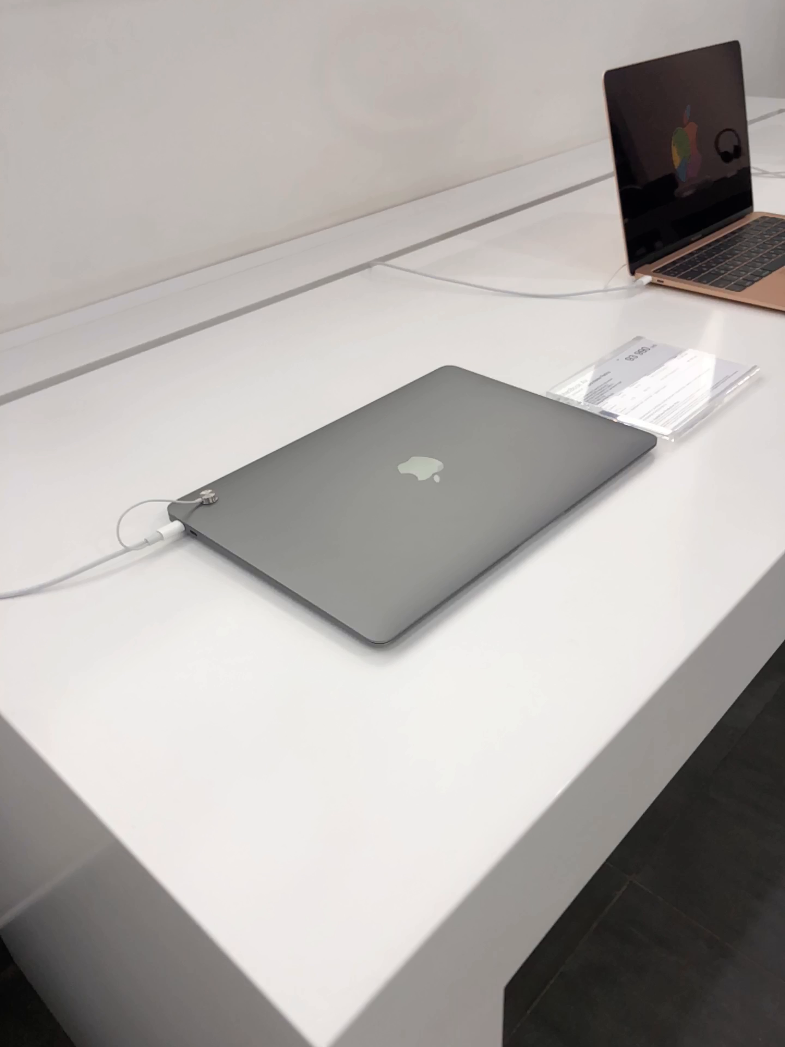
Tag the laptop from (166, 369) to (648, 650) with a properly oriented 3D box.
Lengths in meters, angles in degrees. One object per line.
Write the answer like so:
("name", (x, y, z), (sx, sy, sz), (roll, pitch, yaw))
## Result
("laptop", (0.018, -0.033, 0.629), (0.205, 0.006, 0.293), (28, 45, 35))
